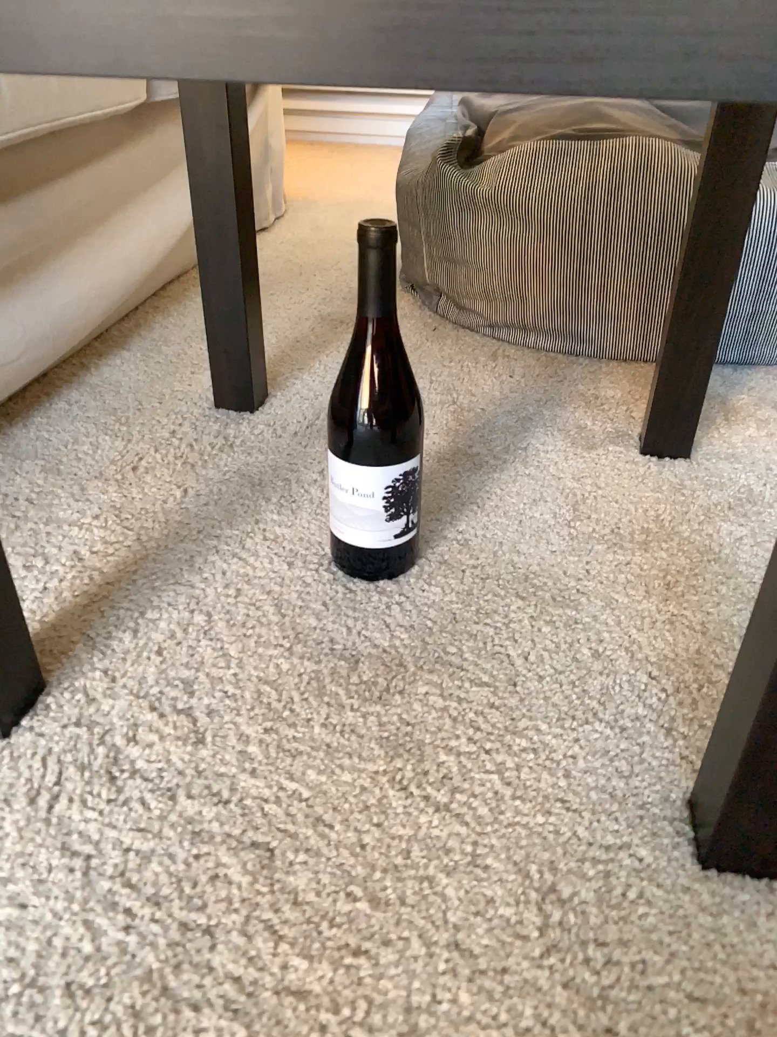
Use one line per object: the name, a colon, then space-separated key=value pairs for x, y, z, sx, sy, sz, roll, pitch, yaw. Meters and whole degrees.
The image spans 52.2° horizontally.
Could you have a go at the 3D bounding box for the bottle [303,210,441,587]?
bottle: x=-0.011 y=-0.088 z=0.646 sx=0.090 sy=0.288 sz=0.091 roll=1 pitch=34 yaw=-1
